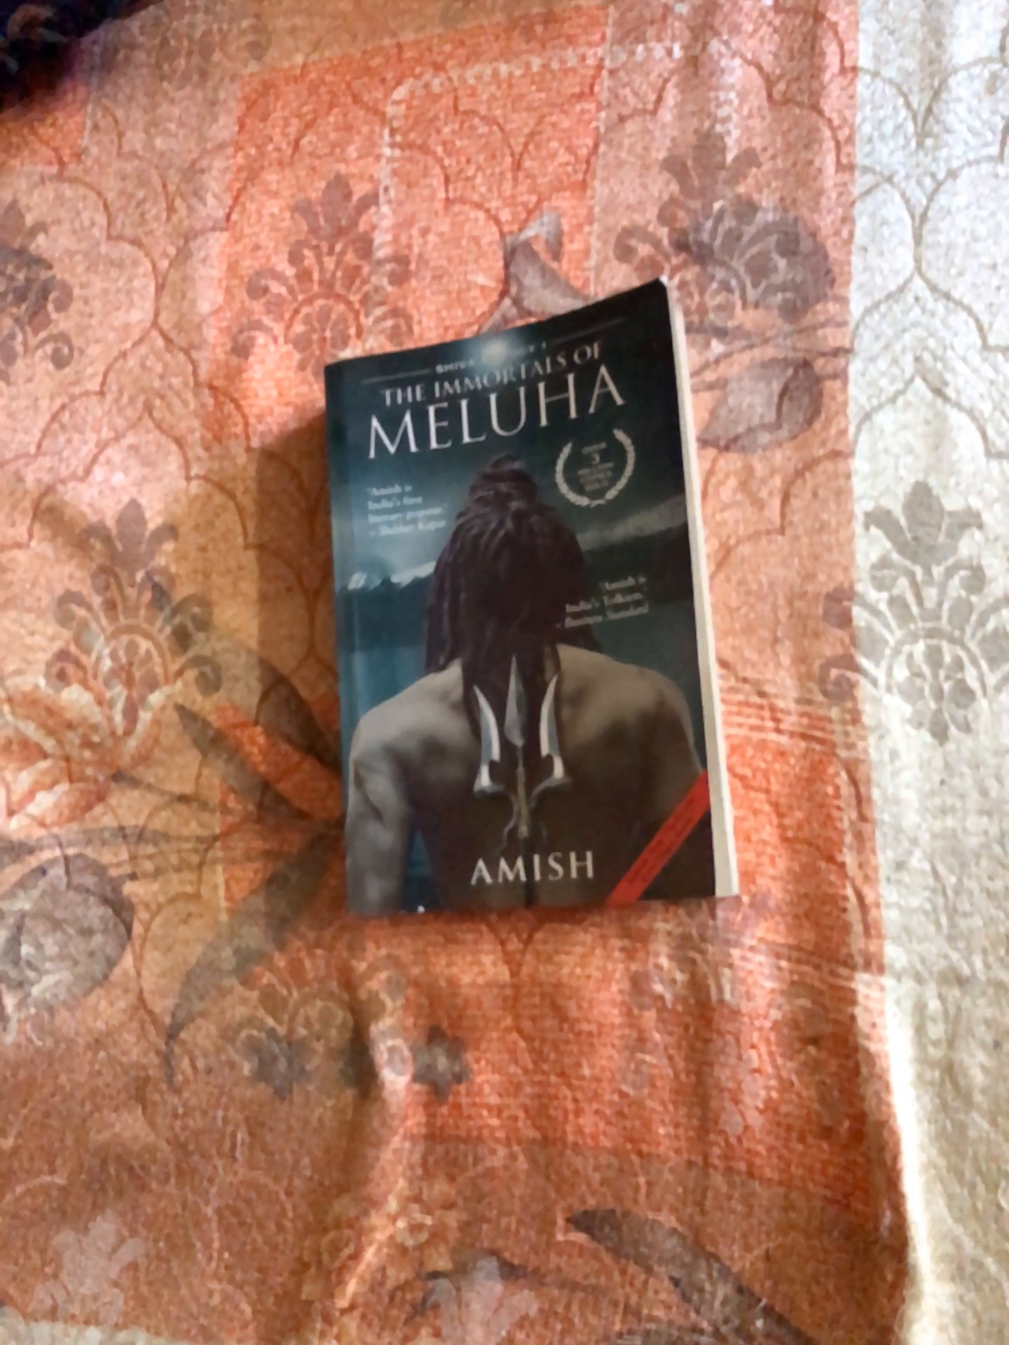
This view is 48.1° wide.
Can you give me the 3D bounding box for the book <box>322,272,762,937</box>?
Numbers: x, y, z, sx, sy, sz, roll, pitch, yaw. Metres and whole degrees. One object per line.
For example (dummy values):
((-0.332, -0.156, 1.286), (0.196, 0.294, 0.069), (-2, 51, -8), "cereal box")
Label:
((0.009, -0.018, 0.370), (0.131, 0.040, 0.200), (-5, 79, 14), "book")
